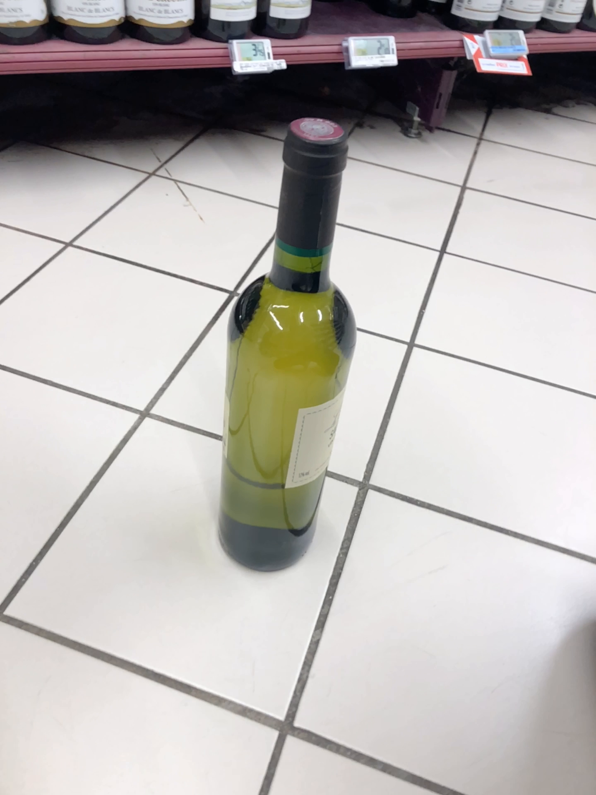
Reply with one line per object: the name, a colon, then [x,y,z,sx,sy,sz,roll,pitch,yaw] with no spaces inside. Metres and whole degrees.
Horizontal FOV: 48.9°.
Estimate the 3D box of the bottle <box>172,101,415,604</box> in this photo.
bottle: [-0.013,-0.002,0.384,0.090,0.288,0.091,5,44,-5]
